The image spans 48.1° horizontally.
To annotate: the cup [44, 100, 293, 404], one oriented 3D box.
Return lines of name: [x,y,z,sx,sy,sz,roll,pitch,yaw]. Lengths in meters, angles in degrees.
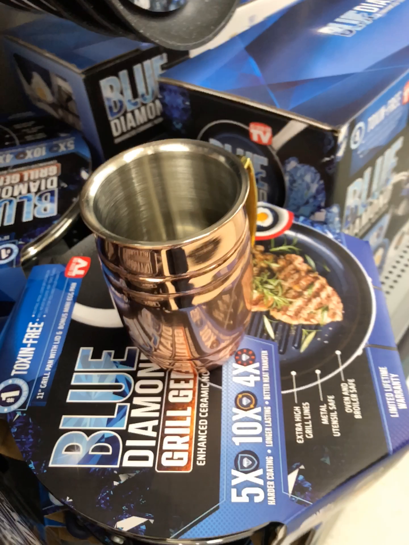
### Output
cup: [-0.008,-0.015,0.292,0.086,0.126,0.127,15,50,19]
